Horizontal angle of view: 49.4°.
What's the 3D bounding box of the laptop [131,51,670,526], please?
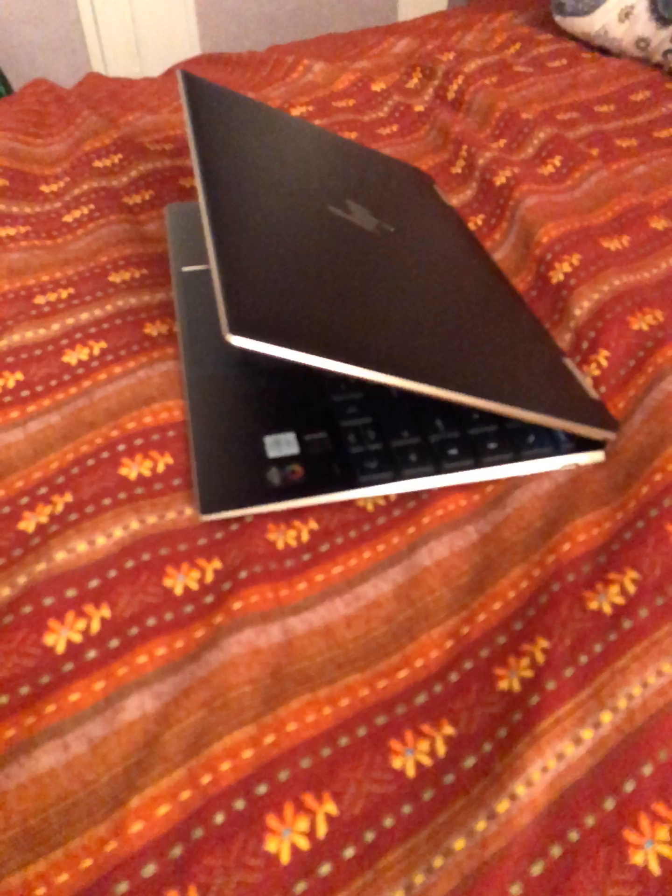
[{"bbox_3d":[0.005,-0.128,0.411,0.202,0.101,0.327,-6,41,-11],"label":"laptop"}]
